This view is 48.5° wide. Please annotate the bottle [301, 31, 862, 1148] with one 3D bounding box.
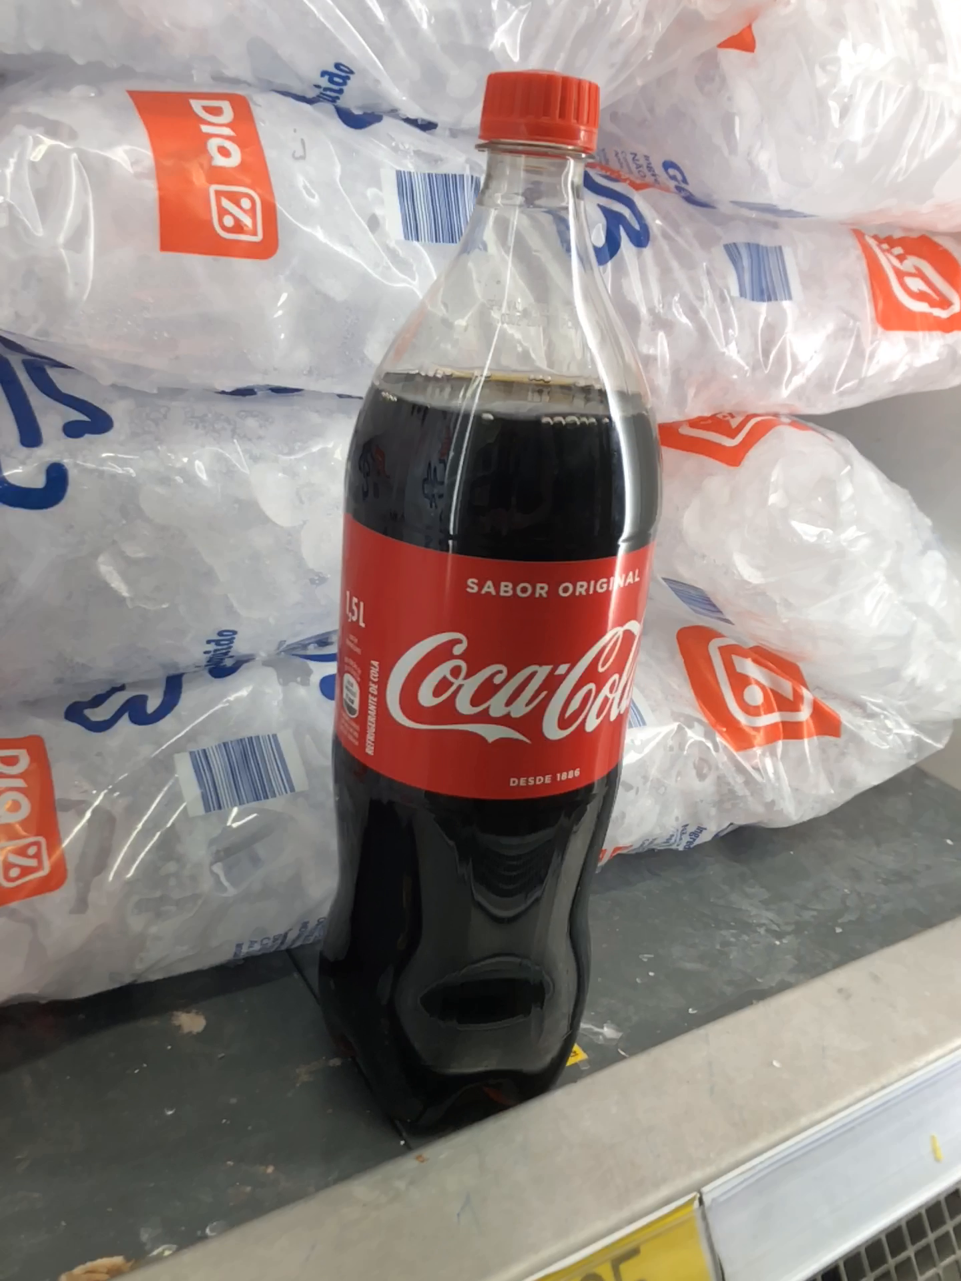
[{"bbox_3d":[0.012,-0.003,0.313,0.100,0.288,0.080,-3,23,-23],"label":"bottle"}]
